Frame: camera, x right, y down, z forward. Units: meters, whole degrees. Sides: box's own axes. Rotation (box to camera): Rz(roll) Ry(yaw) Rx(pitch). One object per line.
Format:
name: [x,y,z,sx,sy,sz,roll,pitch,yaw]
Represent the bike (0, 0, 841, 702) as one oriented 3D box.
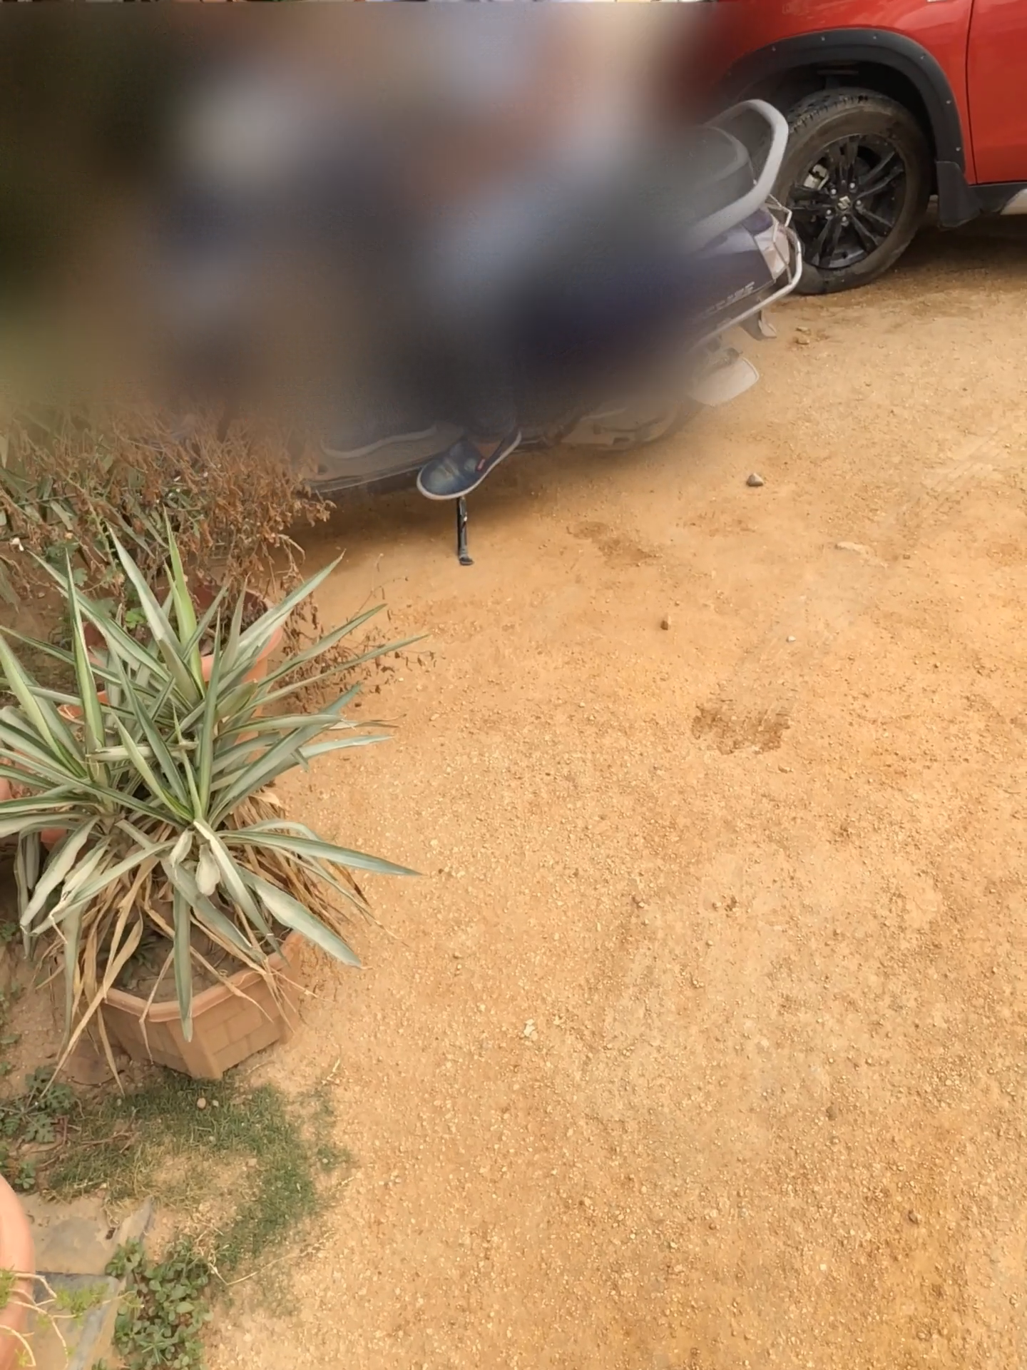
bike: [-0.184,-0.843,2.461,1.624,1.222,0.589,-20,37,-17]
